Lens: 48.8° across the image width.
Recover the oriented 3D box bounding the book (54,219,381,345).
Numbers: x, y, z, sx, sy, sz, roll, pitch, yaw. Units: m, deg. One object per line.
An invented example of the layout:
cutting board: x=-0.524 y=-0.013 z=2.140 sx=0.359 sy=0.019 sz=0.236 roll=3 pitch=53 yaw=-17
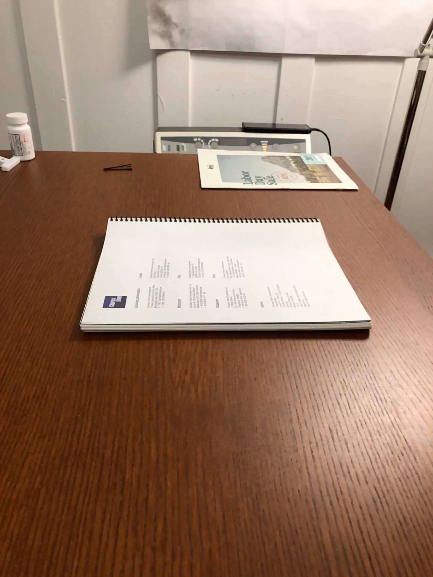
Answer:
book: x=-0.004 y=-0.020 z=0.539 sx=0.300 sy=0.020 sz=0.231 roll=0 pitch=33 yaw=-5
